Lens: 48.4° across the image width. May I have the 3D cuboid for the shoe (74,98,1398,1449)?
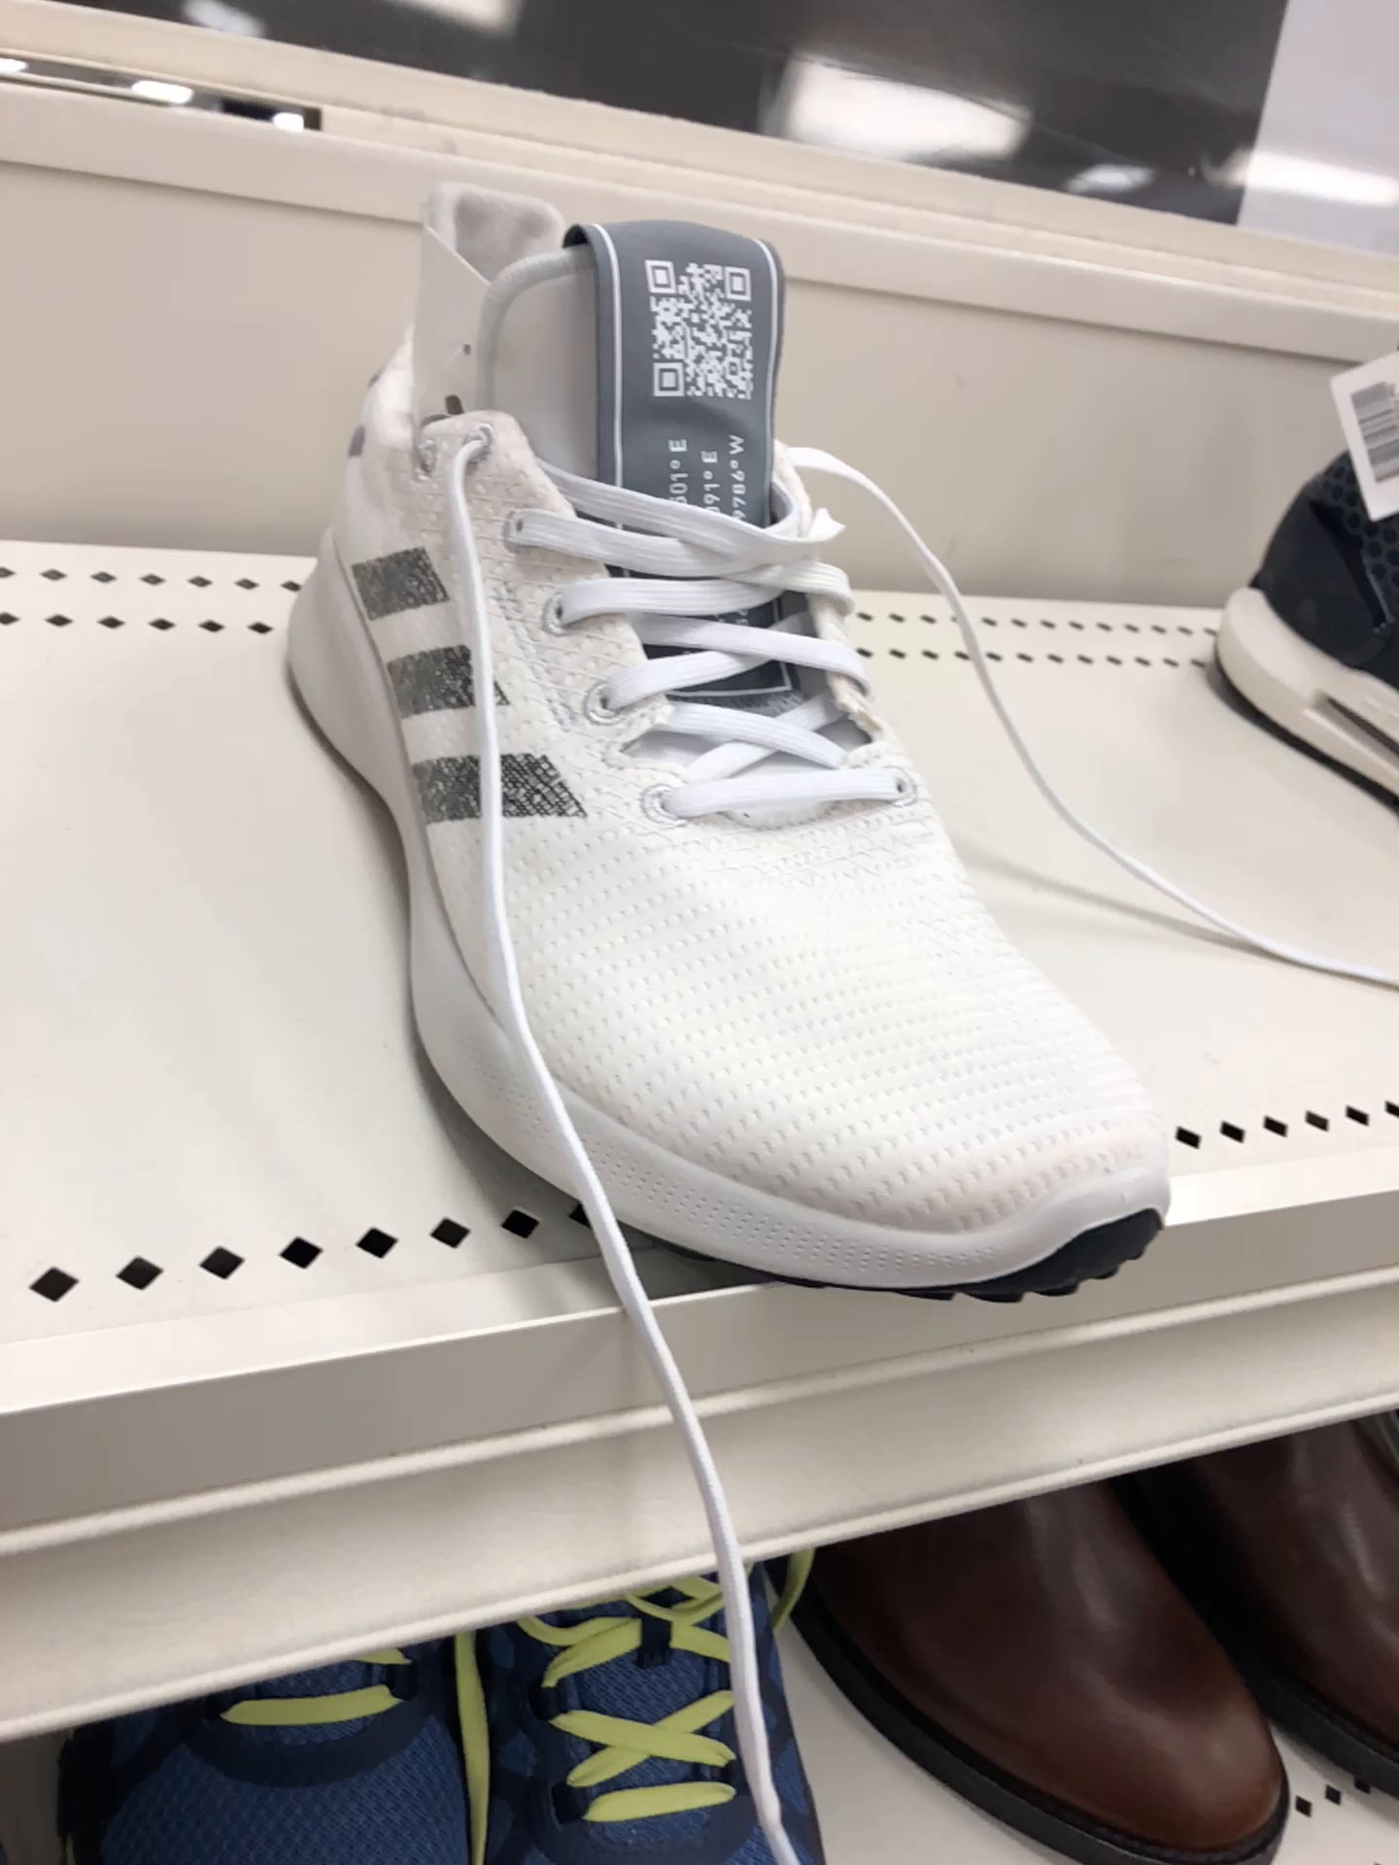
[{"bbox_3d":[-0.033,-0.088,0.342,0.128,0.139,0.382,-6,29,-31],"label":"shoe"}]
